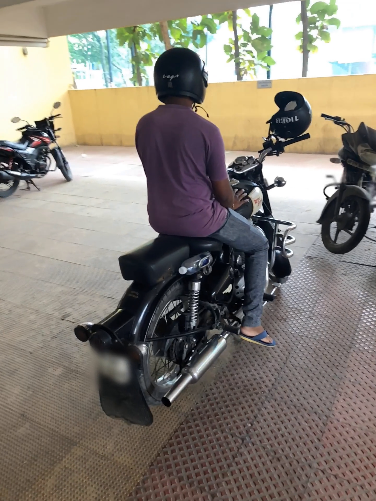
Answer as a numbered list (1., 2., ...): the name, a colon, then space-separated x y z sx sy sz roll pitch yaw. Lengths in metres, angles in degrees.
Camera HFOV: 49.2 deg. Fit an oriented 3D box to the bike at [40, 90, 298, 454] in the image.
1. bike: 0.093 -0.161 2.362 0.726 1.097 1.770 7 30 24
